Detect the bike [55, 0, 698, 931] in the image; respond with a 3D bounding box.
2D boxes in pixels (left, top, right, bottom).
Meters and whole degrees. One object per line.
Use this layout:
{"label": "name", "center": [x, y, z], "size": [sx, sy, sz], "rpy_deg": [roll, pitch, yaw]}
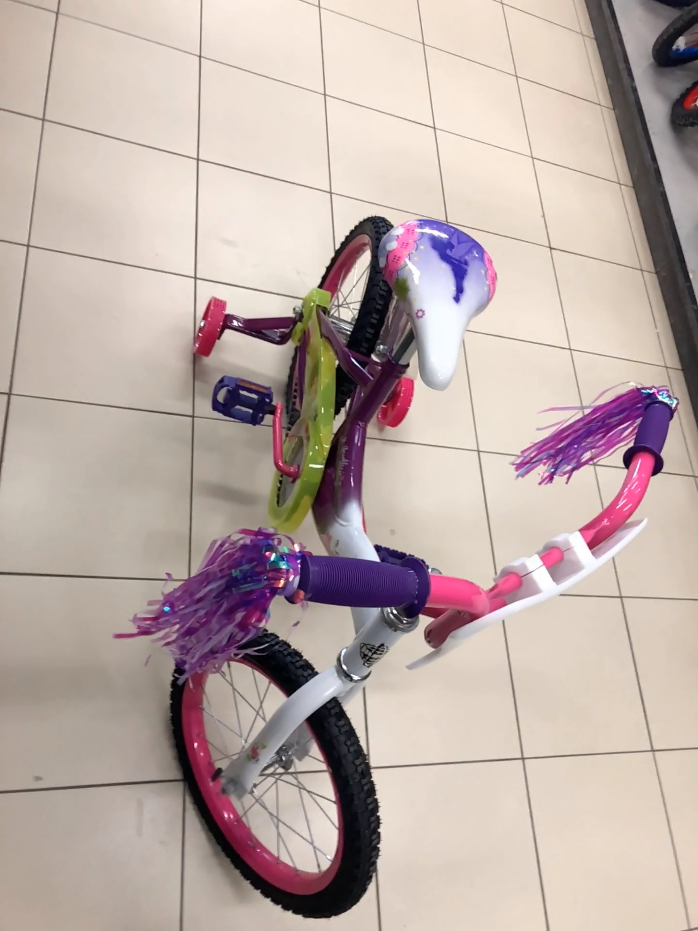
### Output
{"label": "bike", "center": [0.061, -0.012, 0.987], "size": [0.595, 0.811, 1.069], "rpy_deg": [12, 63, -21]}
